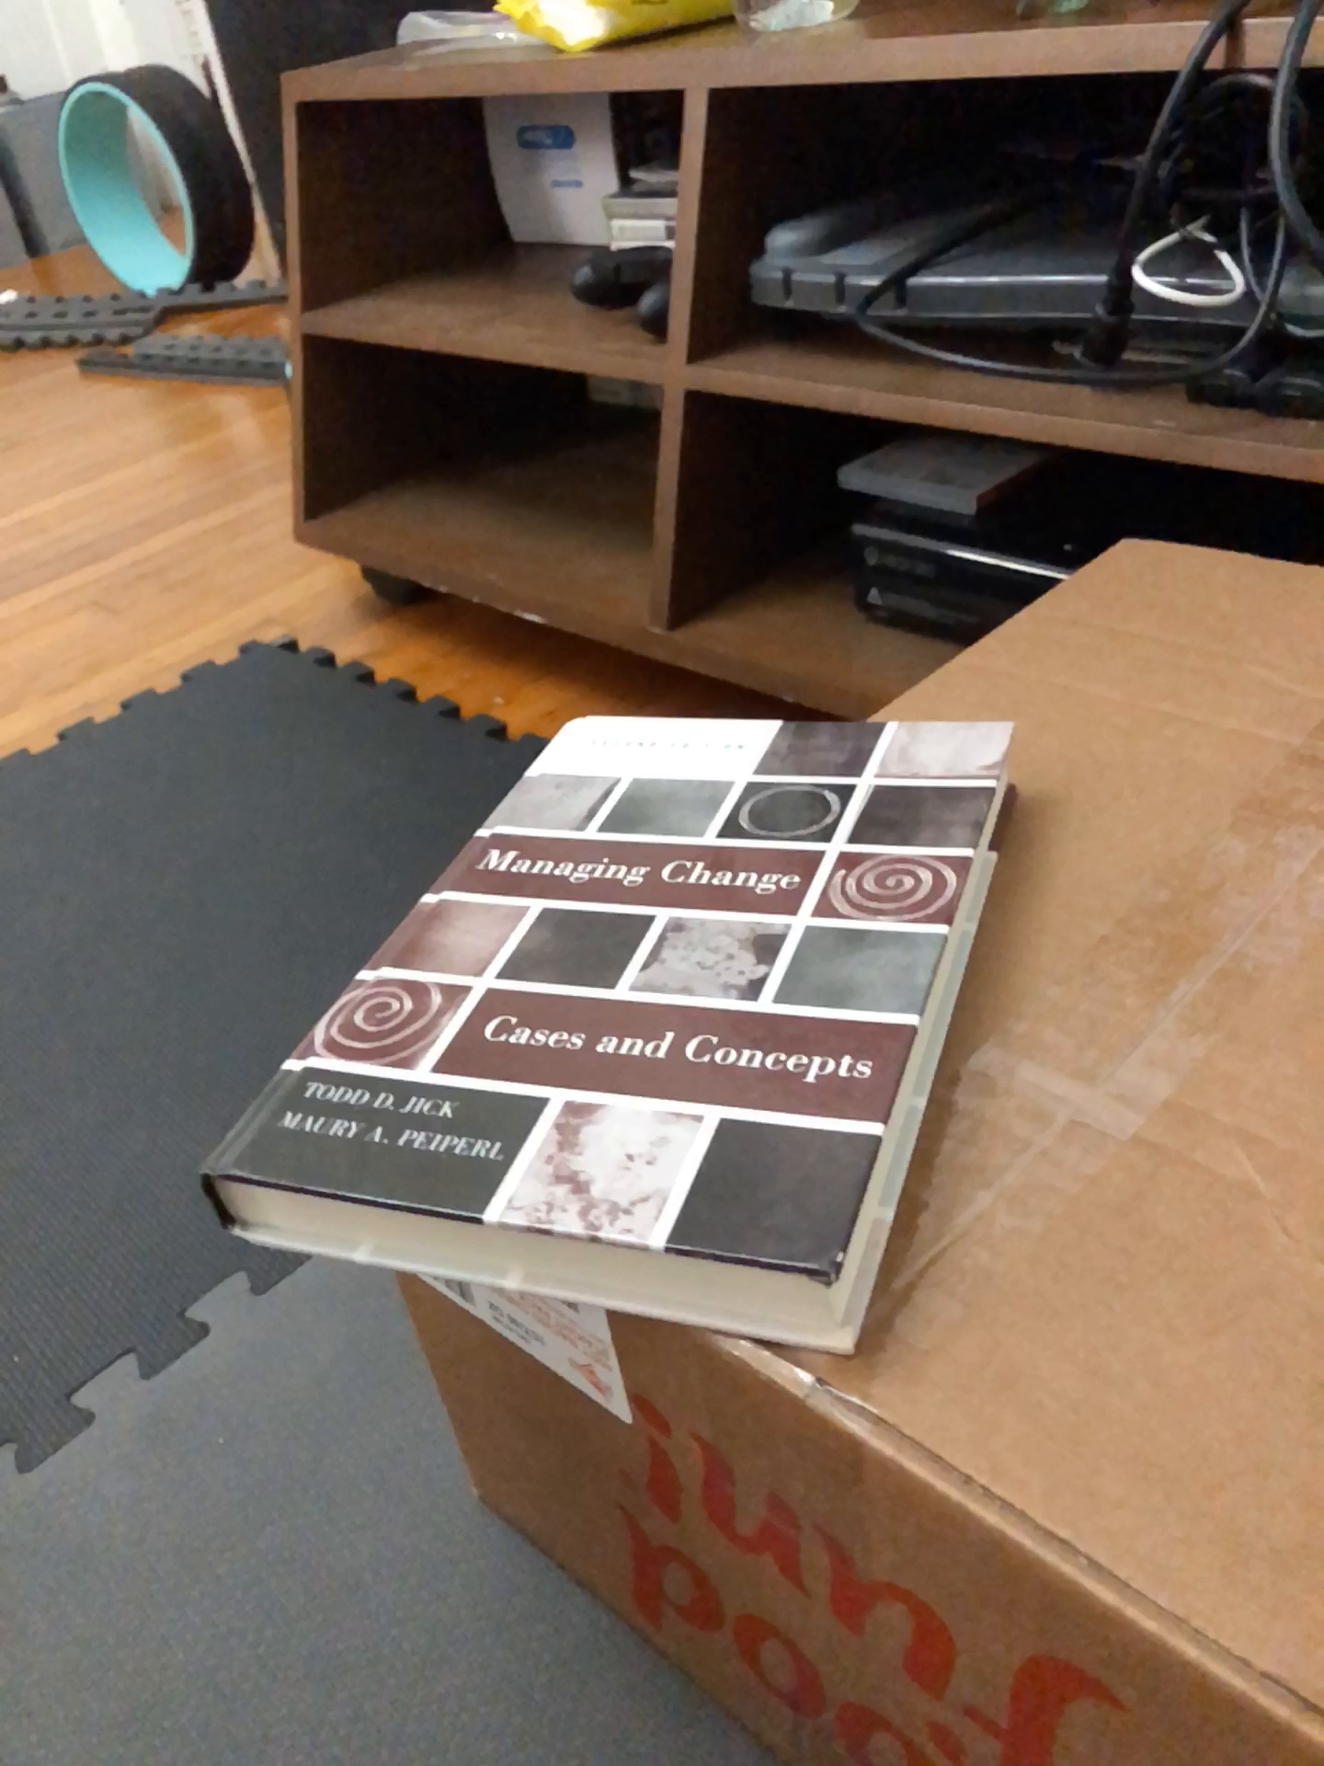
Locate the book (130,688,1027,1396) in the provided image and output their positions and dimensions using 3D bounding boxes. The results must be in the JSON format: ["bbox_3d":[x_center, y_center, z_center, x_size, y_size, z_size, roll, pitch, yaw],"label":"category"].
[{"bbox_3d":[-0.003,0.018,0.430,0.180,0.030,0.251,5,37,21],"label":"book"}]
